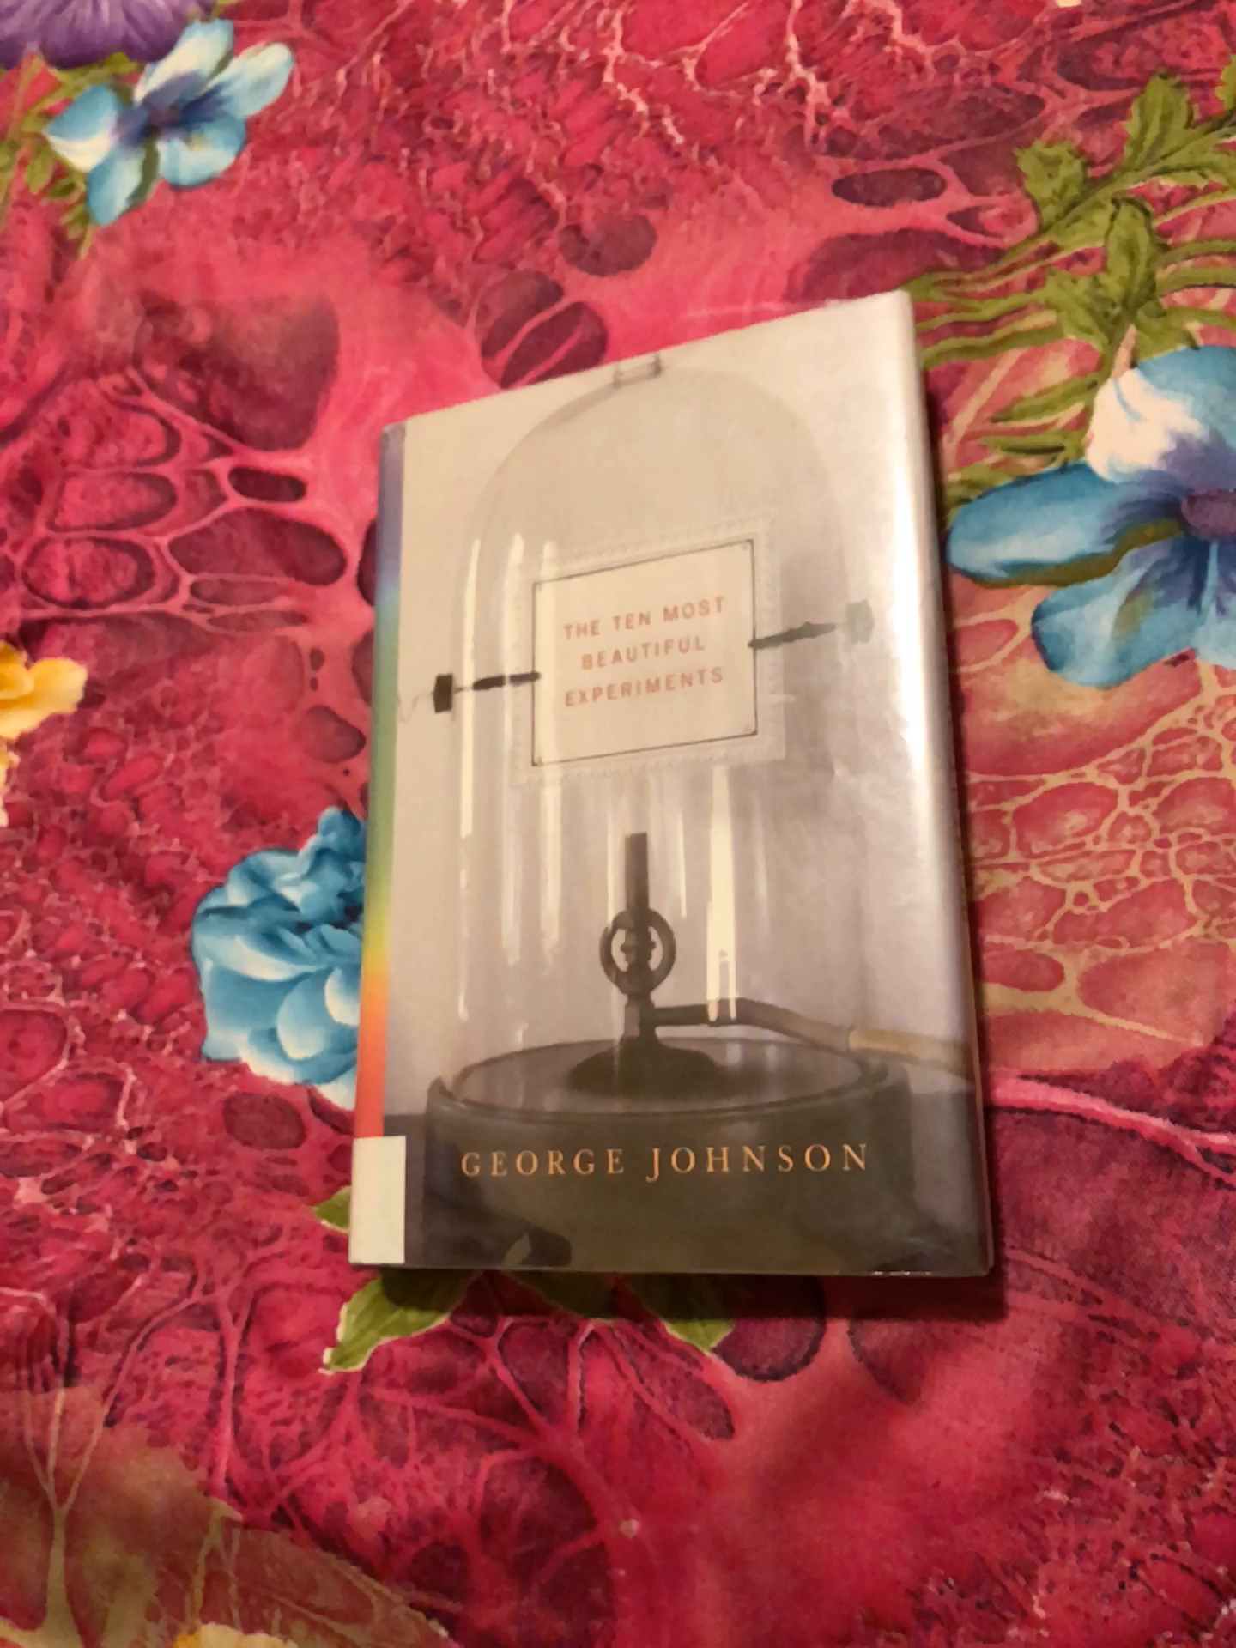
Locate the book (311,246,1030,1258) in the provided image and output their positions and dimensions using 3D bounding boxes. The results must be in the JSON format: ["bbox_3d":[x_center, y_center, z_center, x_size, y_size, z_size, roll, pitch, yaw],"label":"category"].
[{"bbox_3d":[0.005,-0.011,0.299,0.140,0.030,0.200,-8,72,23],"label":"book"}]
